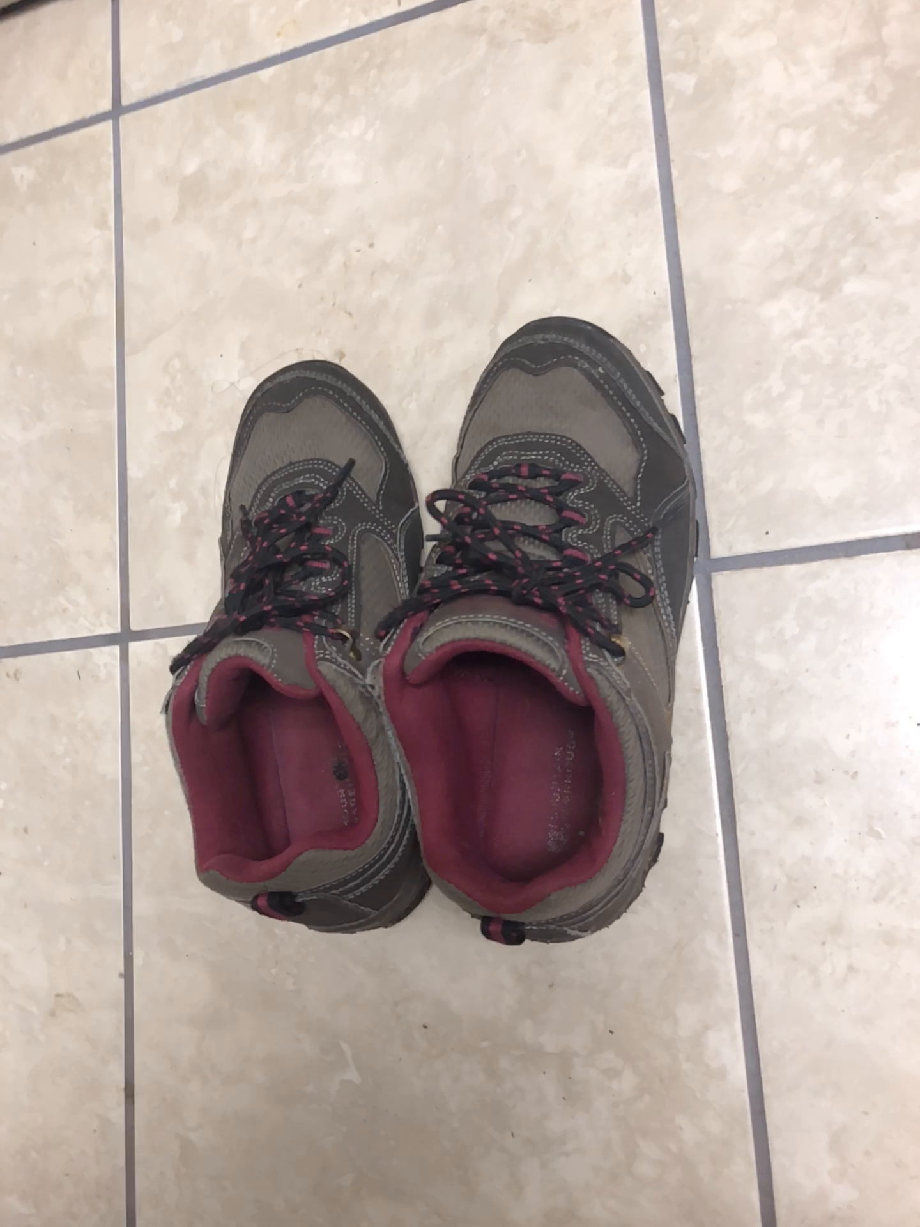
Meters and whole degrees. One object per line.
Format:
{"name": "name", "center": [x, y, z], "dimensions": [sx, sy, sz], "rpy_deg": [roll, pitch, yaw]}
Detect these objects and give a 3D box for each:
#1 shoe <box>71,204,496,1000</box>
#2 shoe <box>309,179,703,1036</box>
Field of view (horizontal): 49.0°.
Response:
{"name": "shoe", "center": [-0.069, 0.001, 0.415], "dimensions": [0.120, 0.120, 0.270], "rpy_deg": [-6, 81, 20]}
{"name": "shoe", "center": [0.025, 0.000, 0.379], "dimensions": [0.110, 0.120, 0.260], "rpy_deg": [-2, 83, 21]}
